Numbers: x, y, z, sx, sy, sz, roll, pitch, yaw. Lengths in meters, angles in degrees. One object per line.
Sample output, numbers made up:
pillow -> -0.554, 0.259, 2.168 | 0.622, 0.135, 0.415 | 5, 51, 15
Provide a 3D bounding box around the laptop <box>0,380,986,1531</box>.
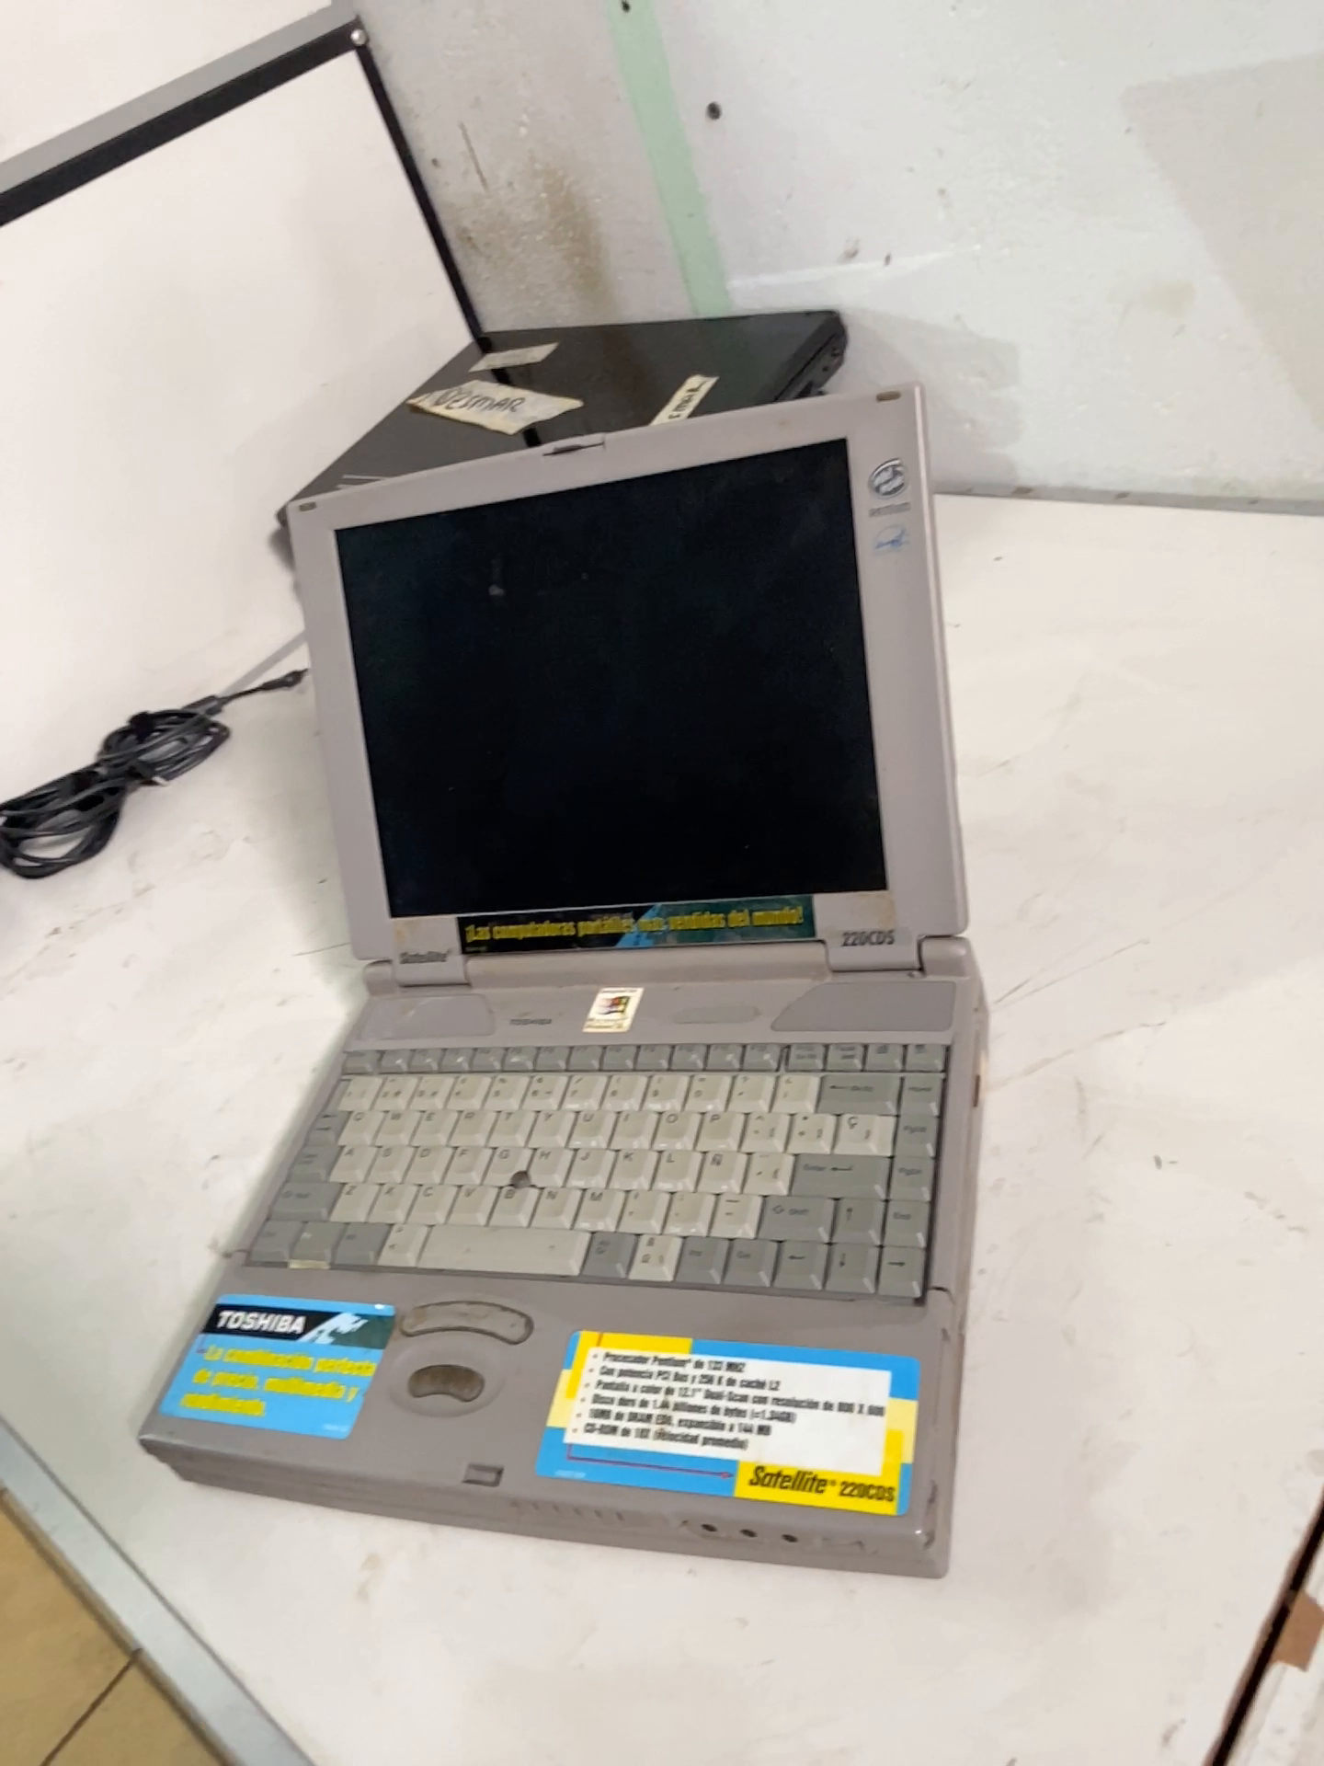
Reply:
laptop -> -0.053, 0.008, 0.529 | 0.301, 0.195, 0.359 | -4, 42, 22
